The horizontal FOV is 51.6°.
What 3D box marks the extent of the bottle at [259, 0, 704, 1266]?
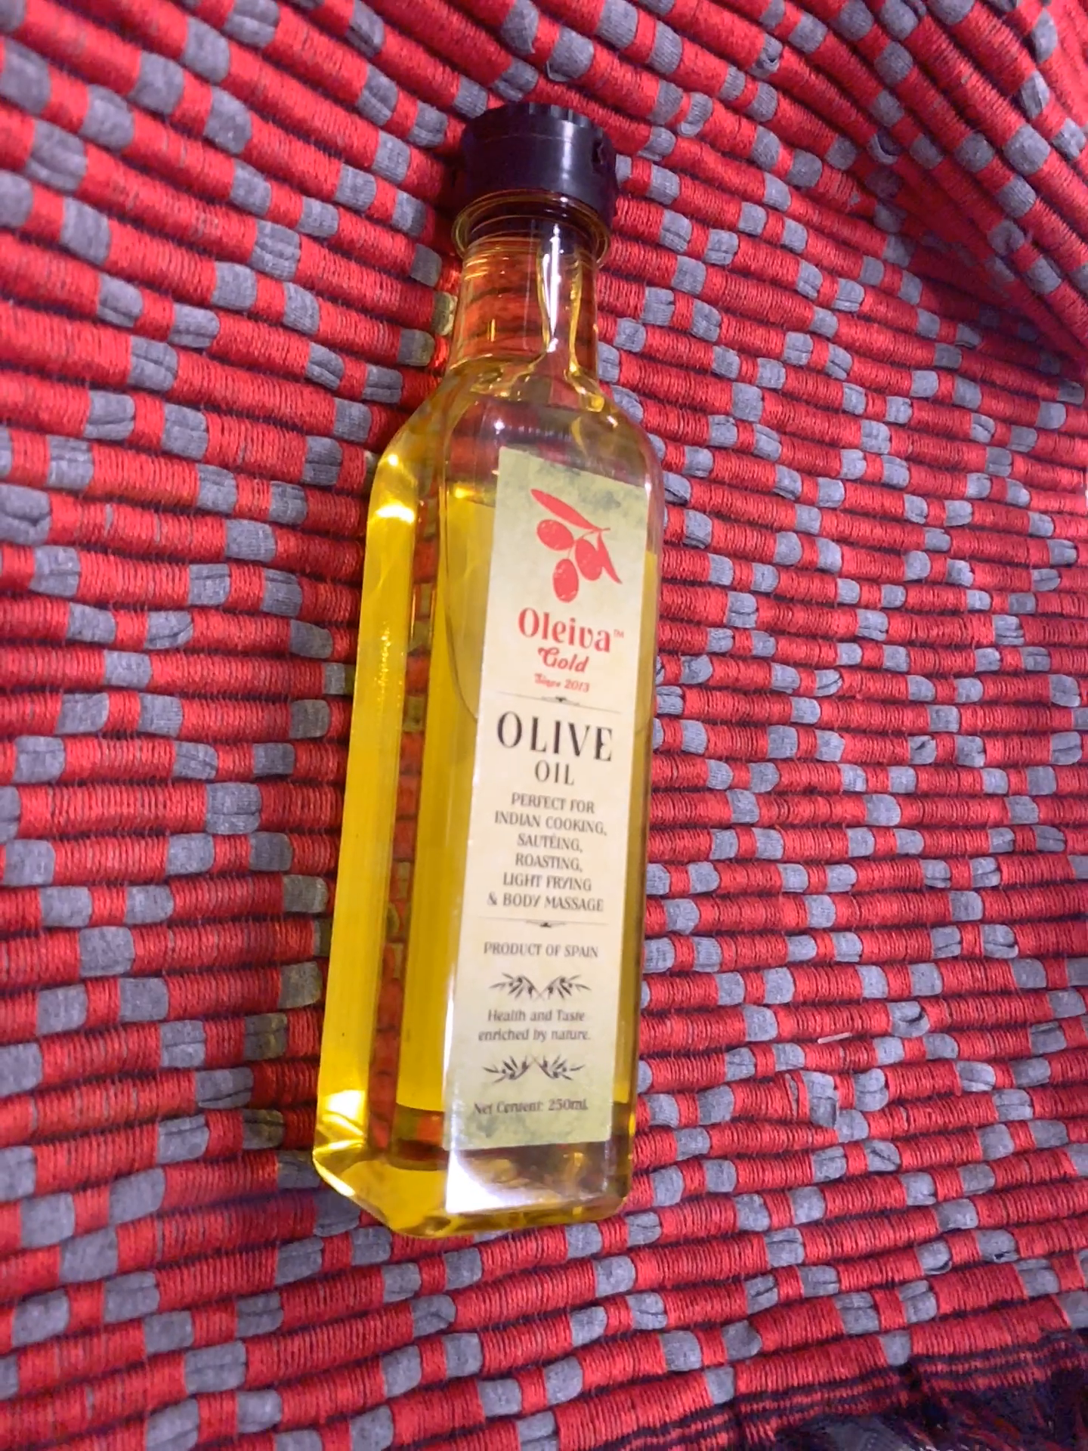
[{"bbox_3d":[-0.010,-0.026,0.201,0.050,0.050,0.210,8,80,-30],"label":"bottle"}]
